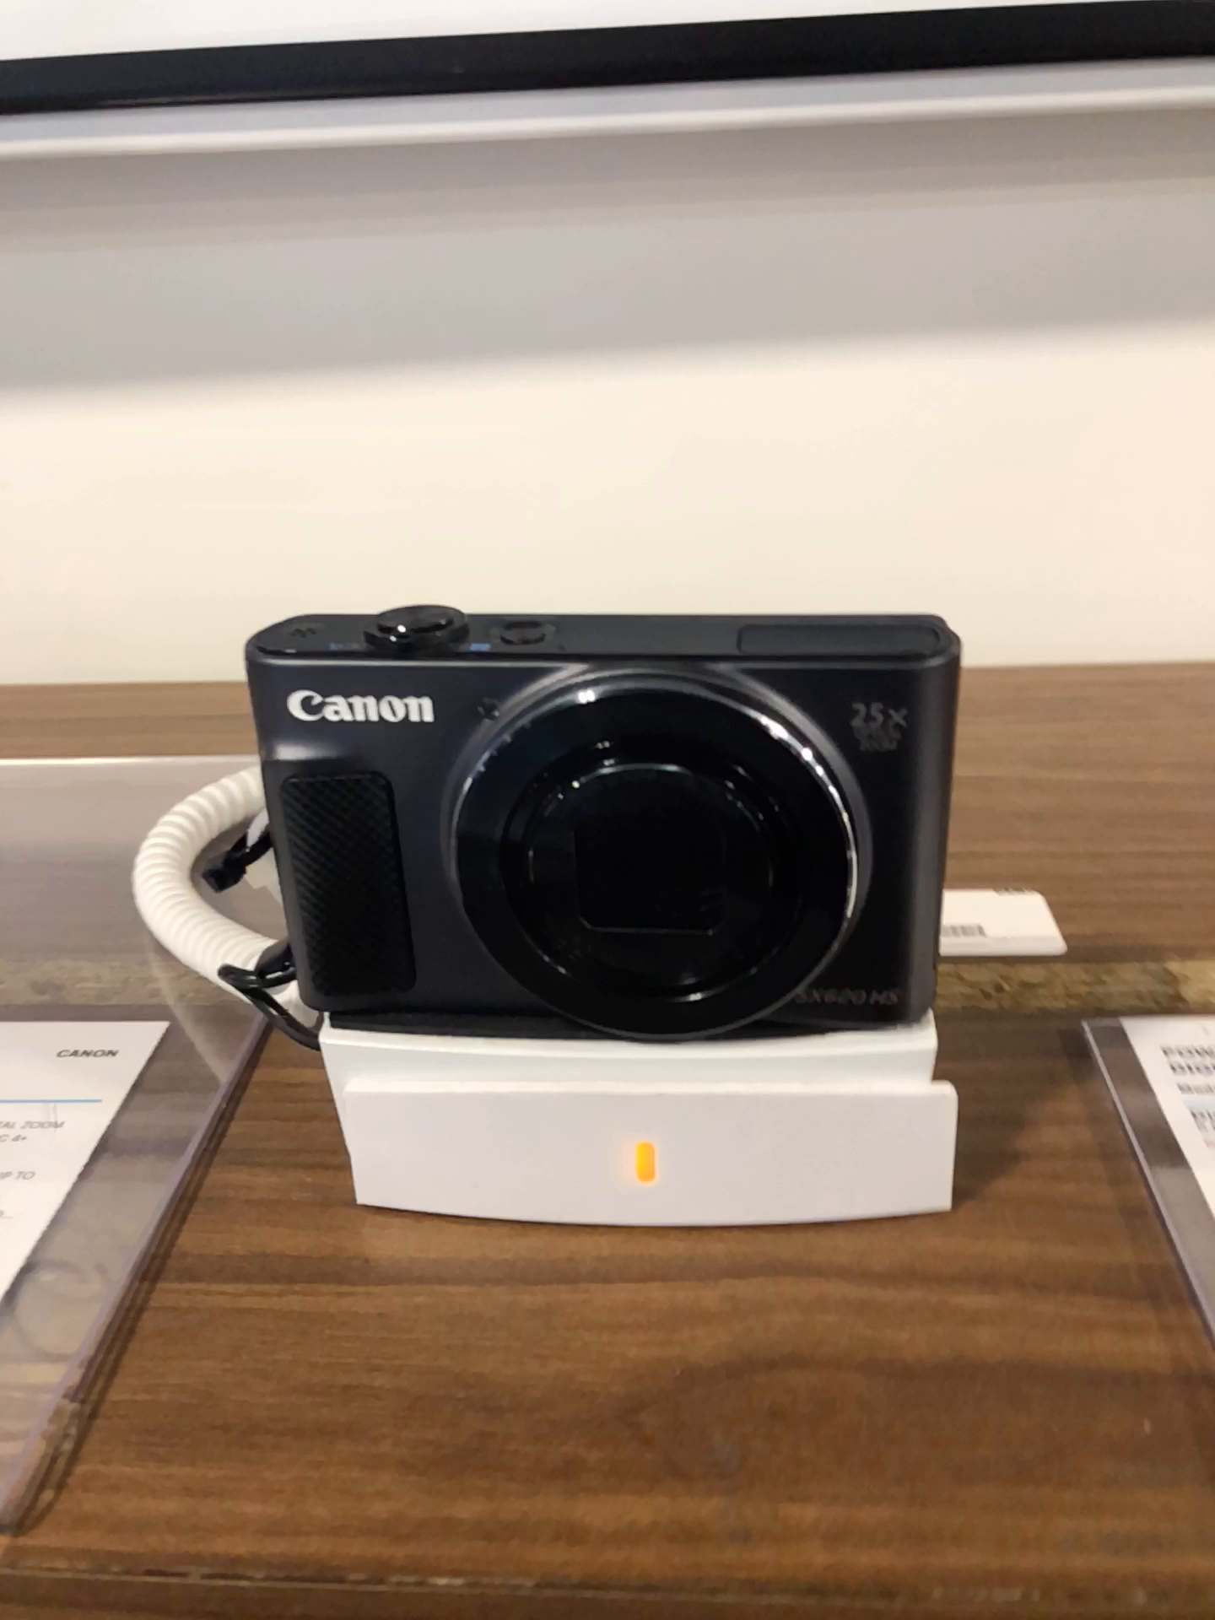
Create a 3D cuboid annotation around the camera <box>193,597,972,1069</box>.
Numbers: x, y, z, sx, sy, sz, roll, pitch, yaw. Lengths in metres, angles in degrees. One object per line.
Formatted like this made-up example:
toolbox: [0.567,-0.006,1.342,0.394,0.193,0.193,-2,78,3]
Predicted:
camera: [-0.002,0.003,0.197,0.100,0.060,0.030,0,23,6]
